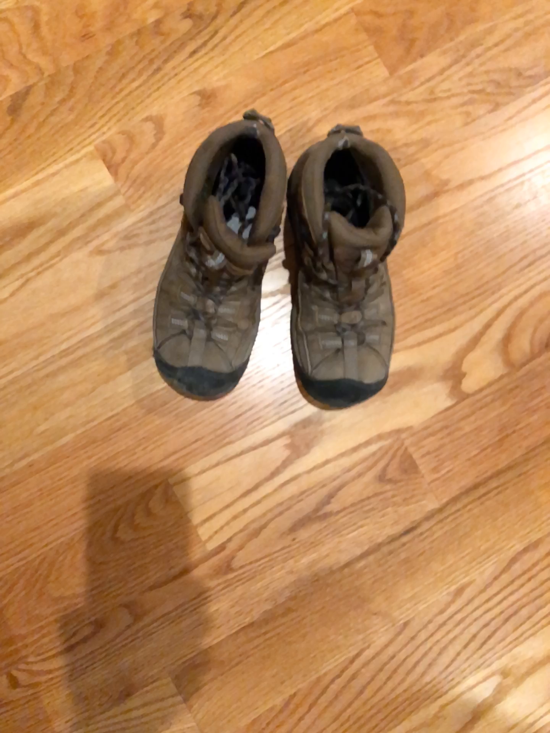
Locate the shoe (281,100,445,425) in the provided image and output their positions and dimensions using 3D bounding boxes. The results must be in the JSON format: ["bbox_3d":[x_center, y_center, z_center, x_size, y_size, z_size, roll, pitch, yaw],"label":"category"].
[{"bbox_3d":[0.071,-0.083,0.554,0.107,0.139,0.259,-3,87,-4],"label":"shoe"}]

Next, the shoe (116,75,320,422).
[{"bbox_3d":[-0.048,-0.091,0.546,0.107,0.139,0.259,12,86,-3],"label":"shoe"}]
